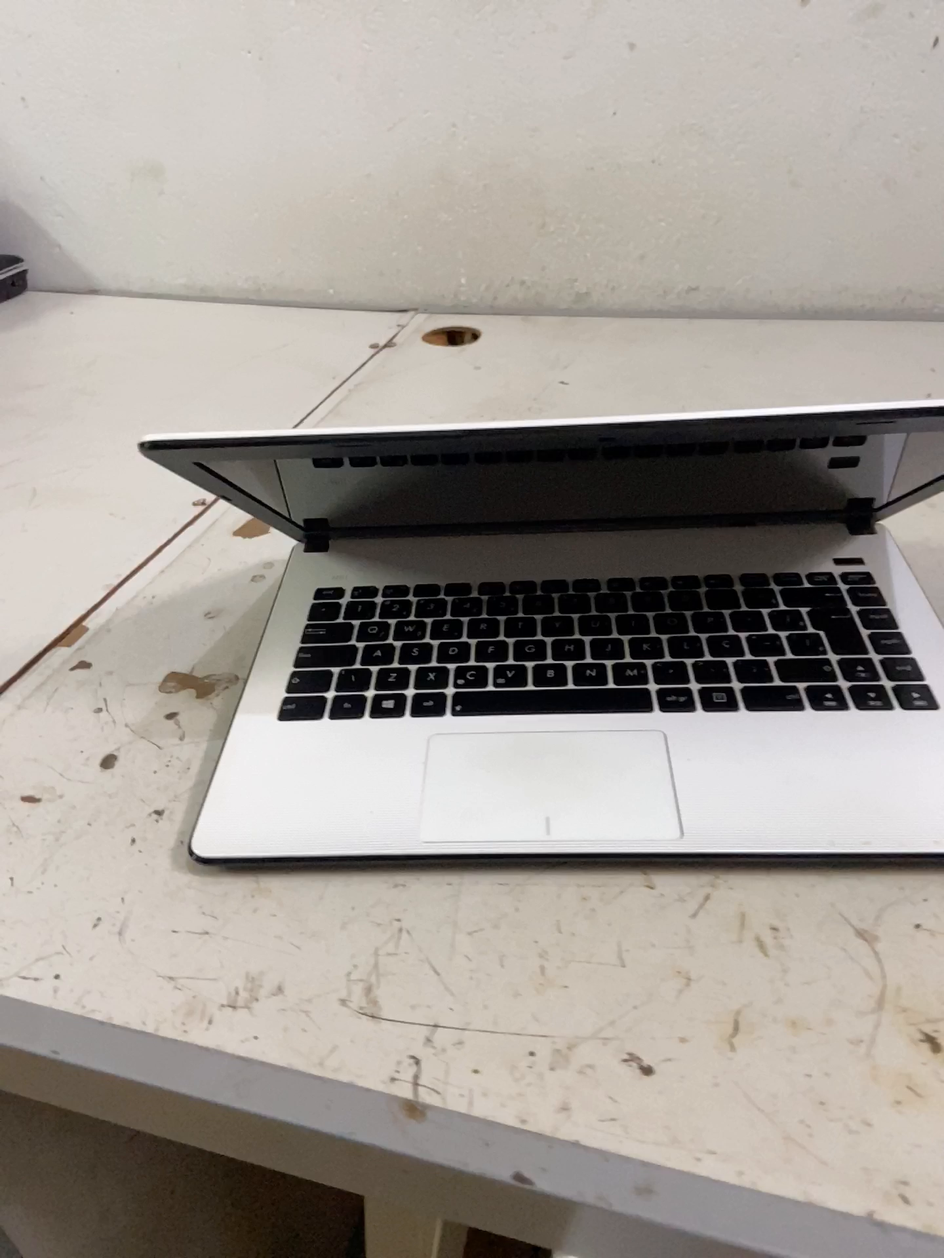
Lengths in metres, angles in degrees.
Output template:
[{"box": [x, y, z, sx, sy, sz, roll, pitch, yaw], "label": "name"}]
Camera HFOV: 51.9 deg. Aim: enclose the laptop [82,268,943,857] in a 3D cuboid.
[{"box": [0.054, -0.043, 0.436, 0.343, 0.141, 0.237, -2, 36, 4], "label": "laptop"}]
